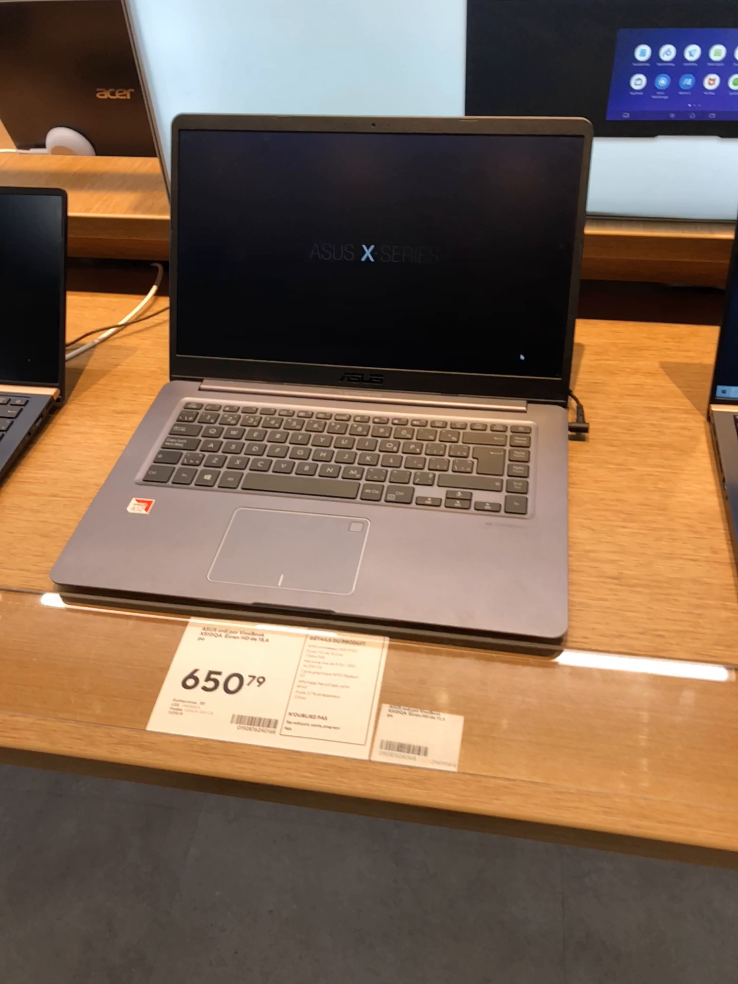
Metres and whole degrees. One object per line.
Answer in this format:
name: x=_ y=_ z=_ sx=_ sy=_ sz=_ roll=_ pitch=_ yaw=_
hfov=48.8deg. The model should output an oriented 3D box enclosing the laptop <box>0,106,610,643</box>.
laptop: x=-0.021 y=-0.123 z=0.612 sx=0.352 sy=0.177 sz=0.392 roll=5 pitch=45 yaw=9
